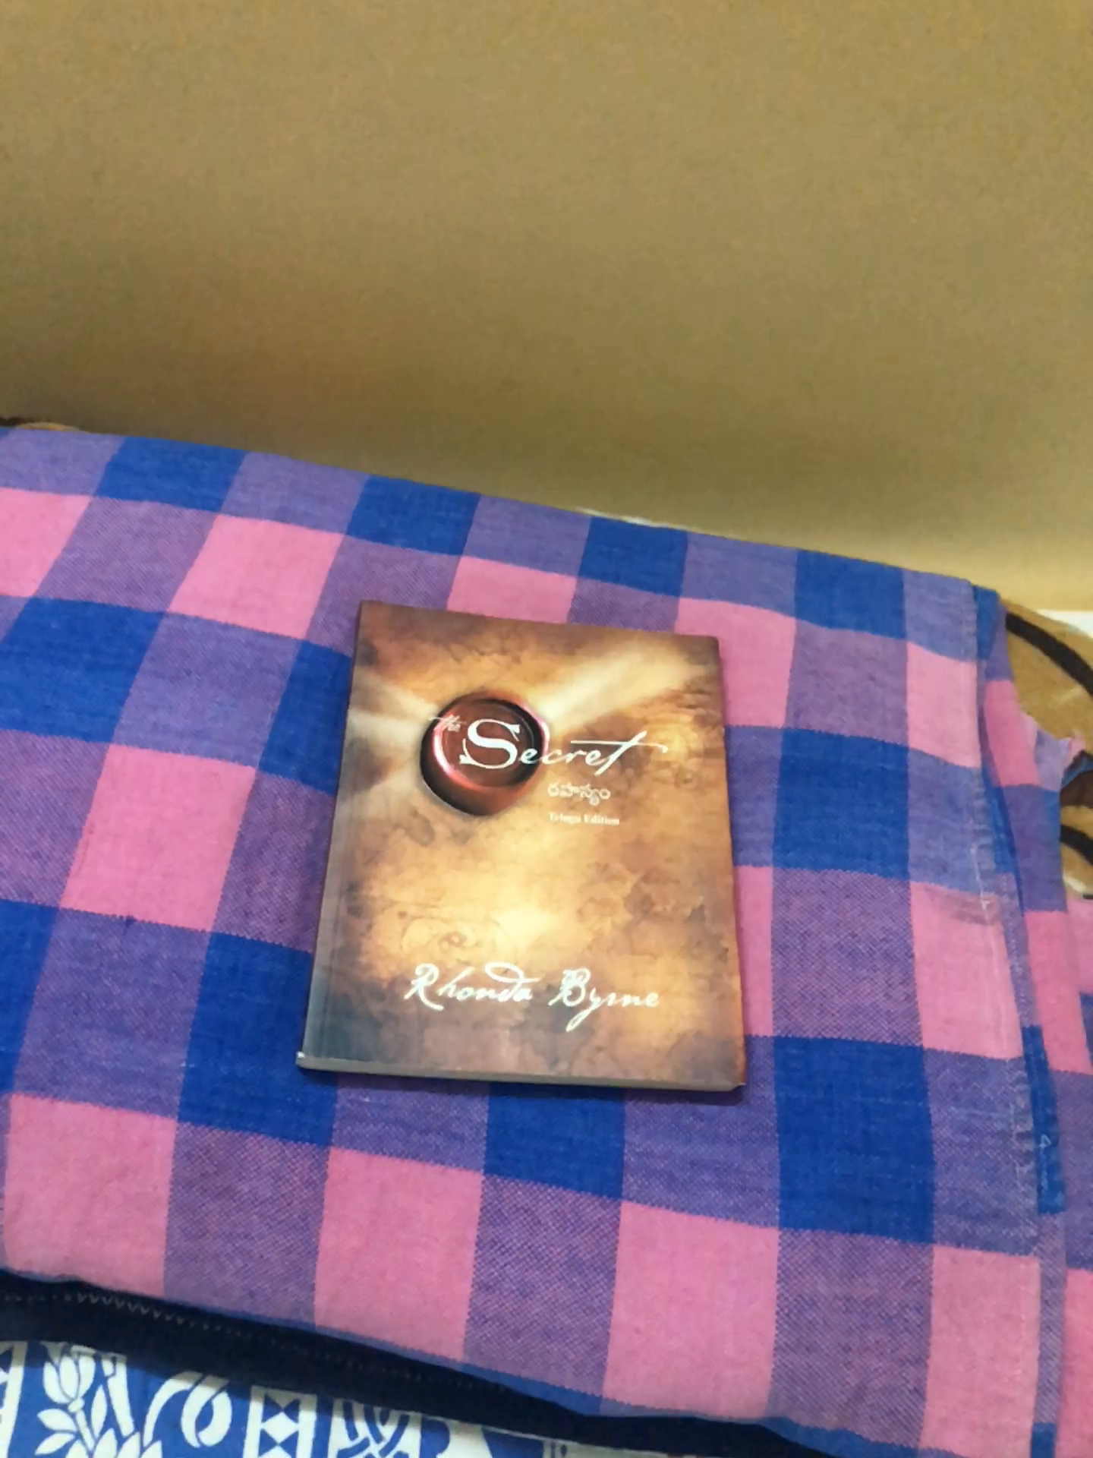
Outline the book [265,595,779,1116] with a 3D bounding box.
[{"bbox_3d":[-0.006,0.034,0.420,0.150,0.020,0.190,4,51,-4],"label":"book"}]
